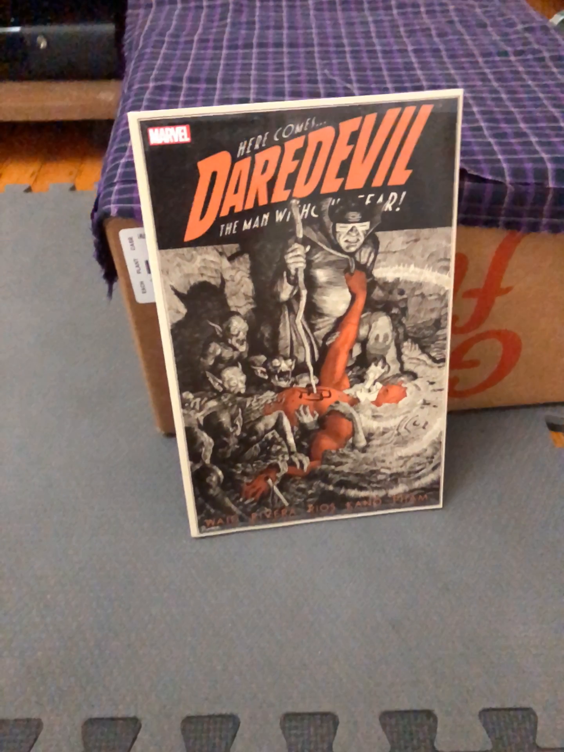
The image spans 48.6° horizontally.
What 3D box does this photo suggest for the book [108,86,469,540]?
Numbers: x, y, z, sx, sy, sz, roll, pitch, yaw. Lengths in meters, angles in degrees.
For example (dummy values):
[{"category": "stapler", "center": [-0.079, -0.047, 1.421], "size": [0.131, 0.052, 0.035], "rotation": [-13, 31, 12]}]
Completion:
[{"category": "book", "center": [0.011, -0.022, 0.330], "size": [0.160, 0.229, 0.020], "rotation": [-6, 24, -4]}]
